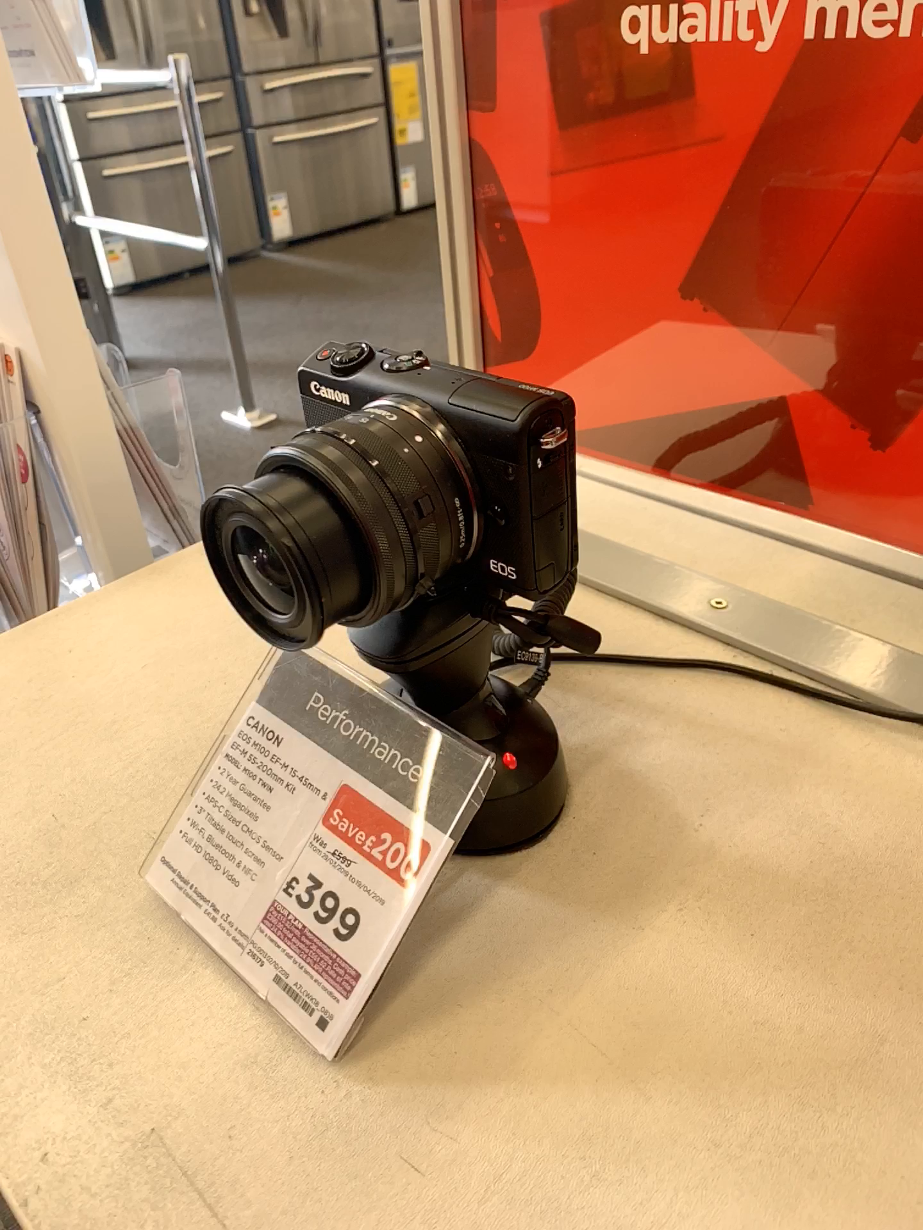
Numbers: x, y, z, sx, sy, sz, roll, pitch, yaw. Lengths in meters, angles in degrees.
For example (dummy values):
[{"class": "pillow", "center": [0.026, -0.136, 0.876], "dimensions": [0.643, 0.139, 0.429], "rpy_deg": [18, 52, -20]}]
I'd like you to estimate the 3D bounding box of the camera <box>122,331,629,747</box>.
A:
[{"class": "camera", "center": [-0.025, -0.035, 0.309], "dimensions": [0.121, 0.069, 0.100], "rpy_deg": [24, 43, 37]}]
